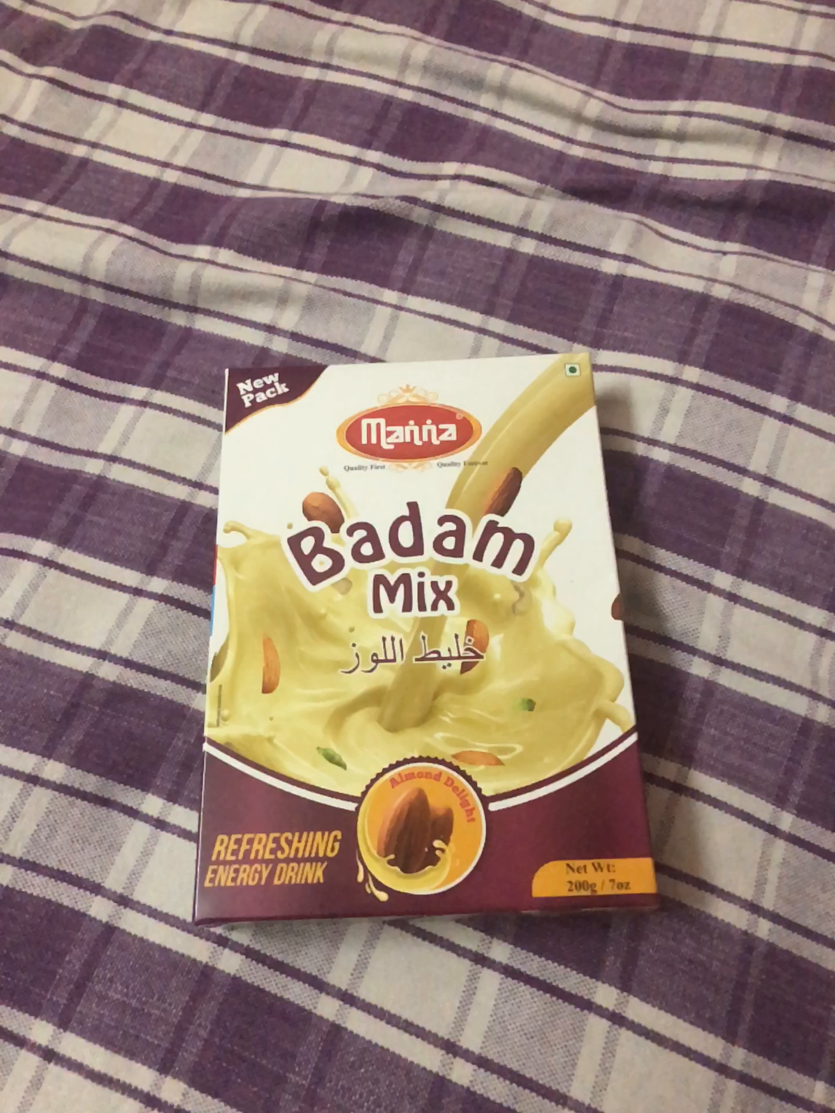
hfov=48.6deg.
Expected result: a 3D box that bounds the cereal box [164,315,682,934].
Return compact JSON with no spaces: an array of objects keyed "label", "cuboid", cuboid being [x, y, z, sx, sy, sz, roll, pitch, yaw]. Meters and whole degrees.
[{"label":"cereal box","cuboid":[-0.003,0.017,0.290,0.130,0.050,0.180,-3,67,-1]}]
